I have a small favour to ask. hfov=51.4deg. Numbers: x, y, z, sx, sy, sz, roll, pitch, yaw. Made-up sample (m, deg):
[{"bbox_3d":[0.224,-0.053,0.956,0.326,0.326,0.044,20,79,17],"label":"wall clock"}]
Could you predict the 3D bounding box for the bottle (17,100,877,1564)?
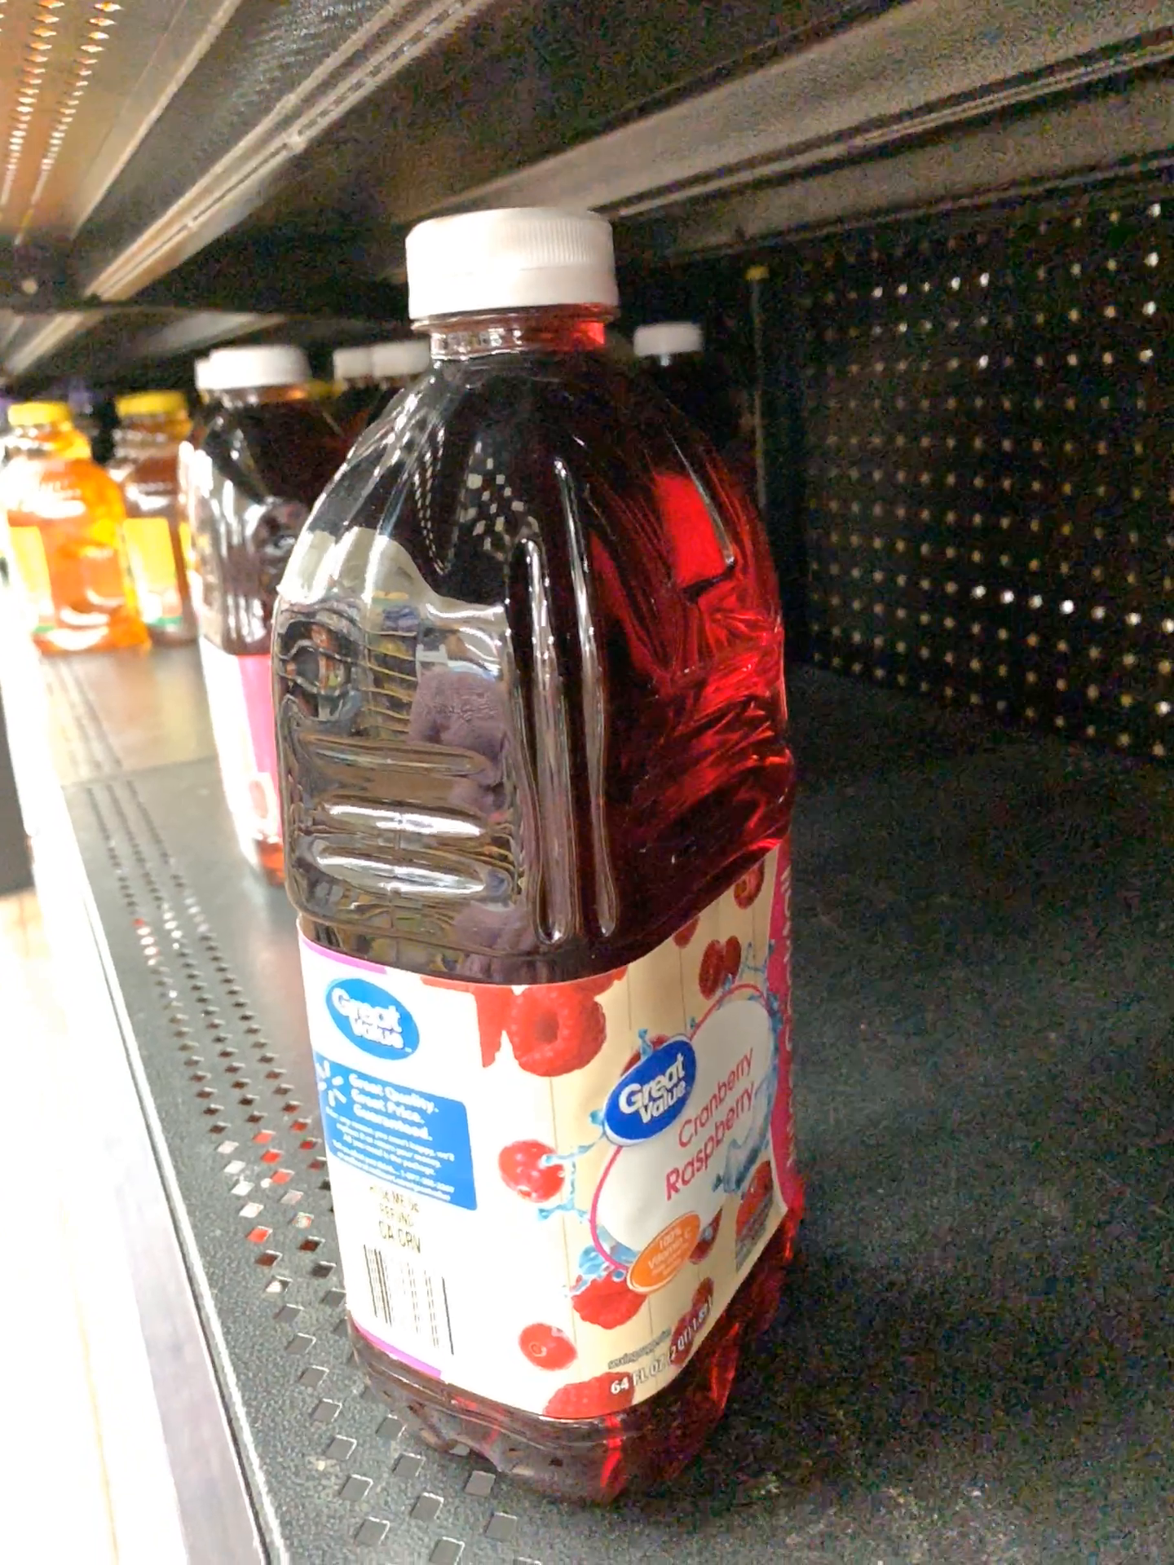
[{"bbox_3d":[-0.006,0.015,0.264,0.100,0.259,0.125,5,21,28],"label":"bottle"}]
